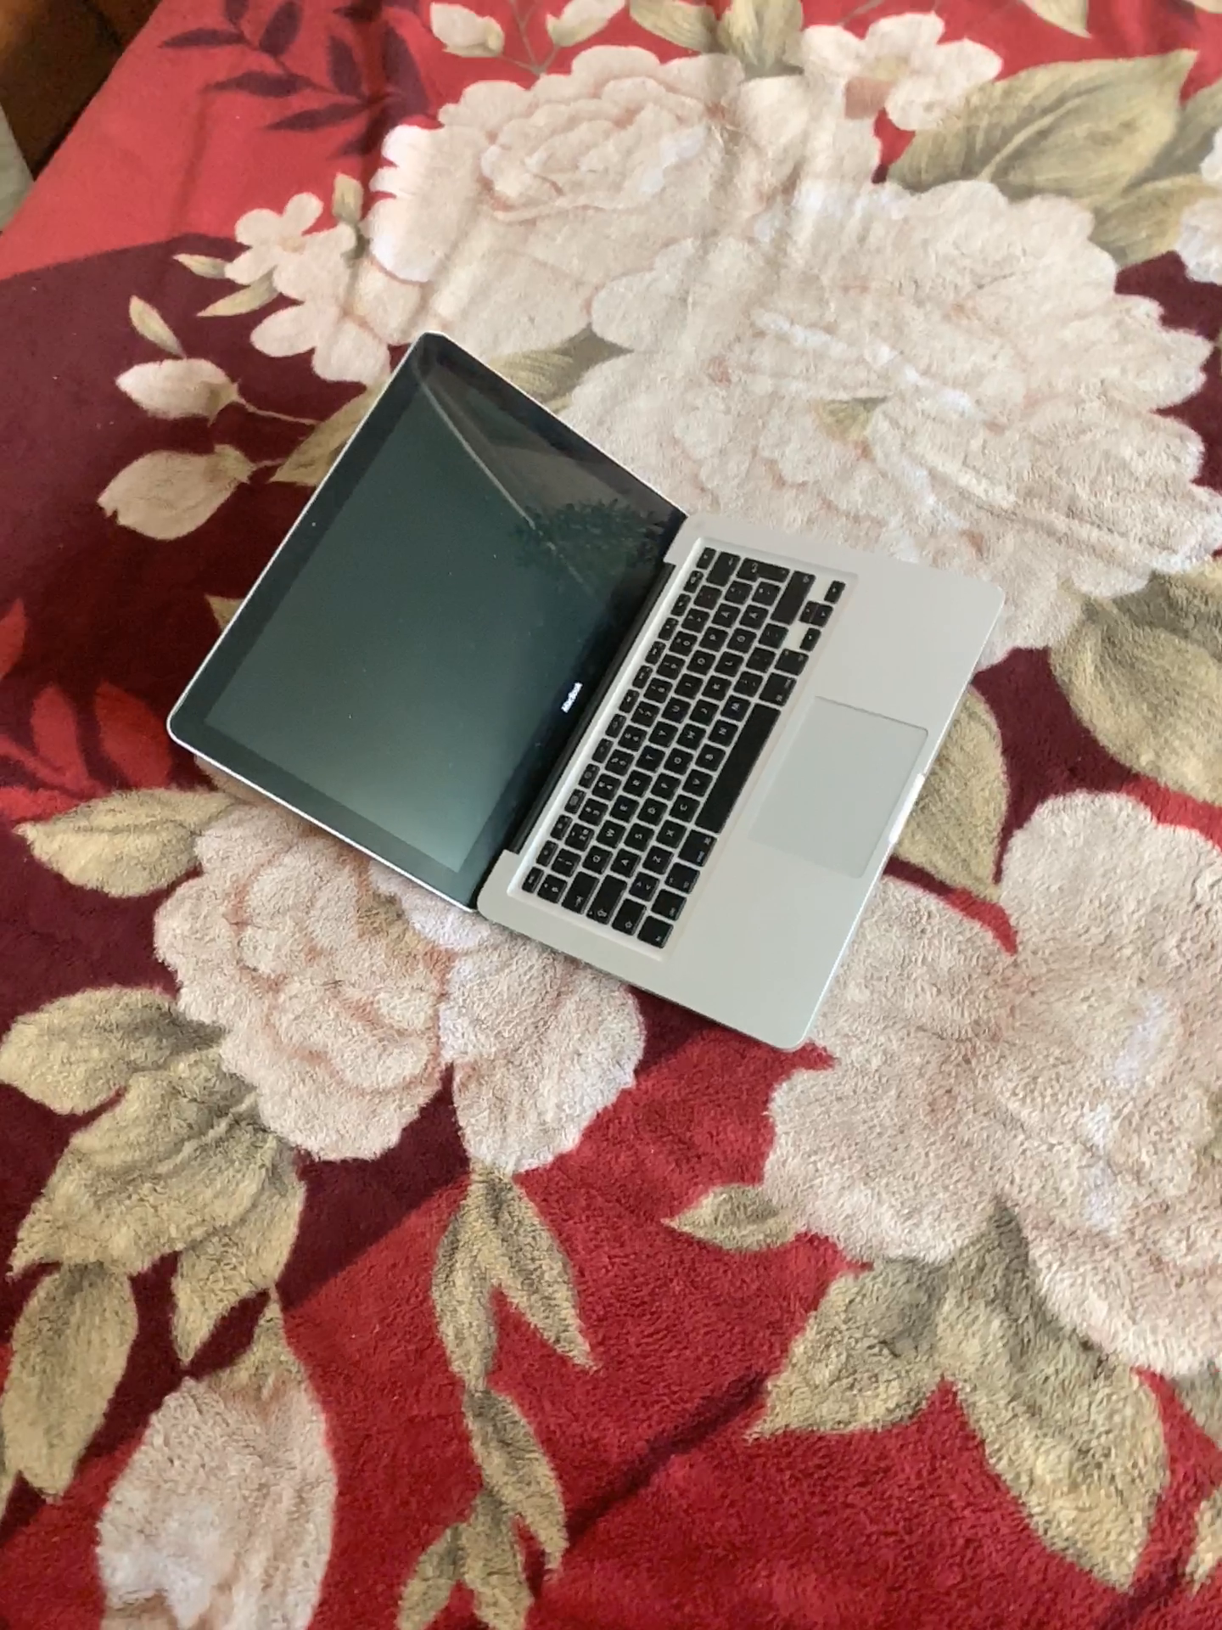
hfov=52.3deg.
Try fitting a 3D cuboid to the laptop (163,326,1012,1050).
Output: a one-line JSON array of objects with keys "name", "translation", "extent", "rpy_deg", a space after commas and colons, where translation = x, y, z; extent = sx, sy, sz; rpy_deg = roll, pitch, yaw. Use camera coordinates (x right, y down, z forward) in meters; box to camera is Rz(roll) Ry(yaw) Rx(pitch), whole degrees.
[{"name": "laptop", "translation": [-0.010, -0.093, 0.753], "extent": [0.388, 0.116, 0.317], "rpy_deg": [22, 74, 21]}]
